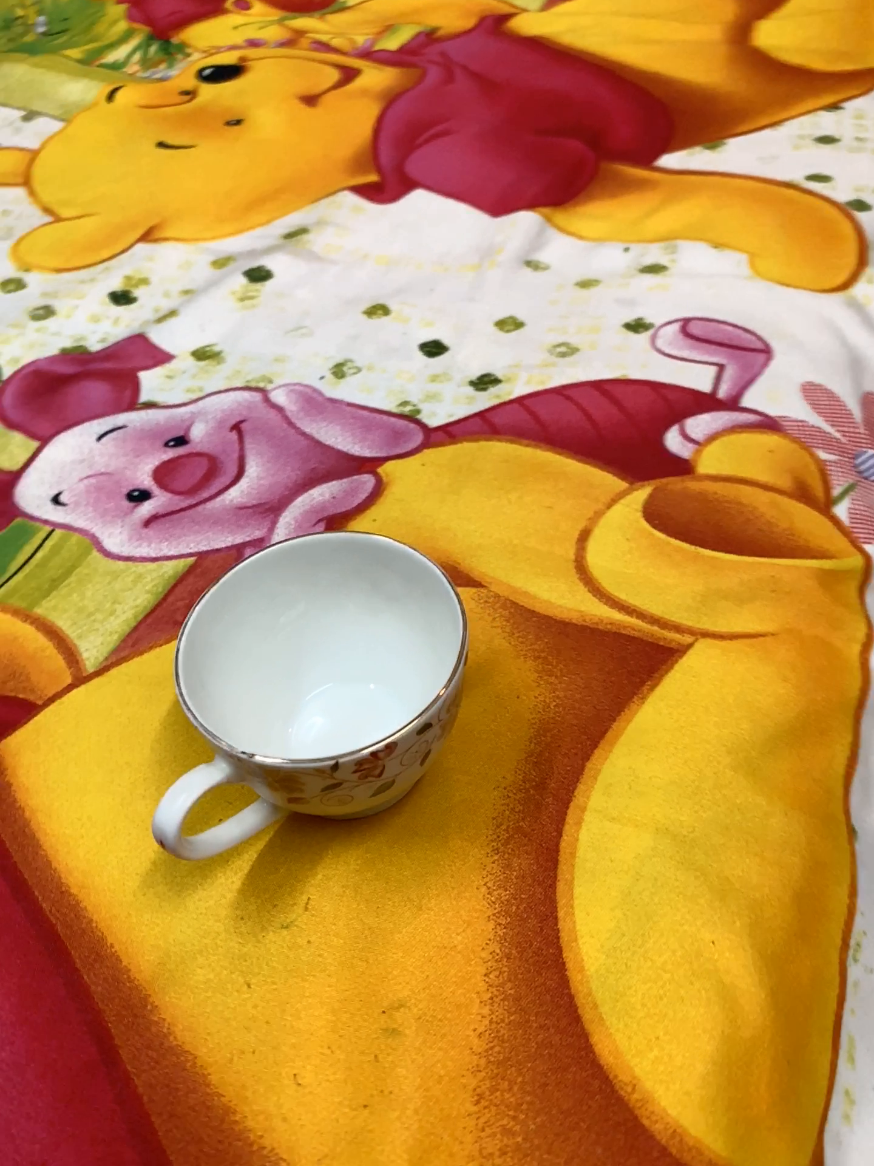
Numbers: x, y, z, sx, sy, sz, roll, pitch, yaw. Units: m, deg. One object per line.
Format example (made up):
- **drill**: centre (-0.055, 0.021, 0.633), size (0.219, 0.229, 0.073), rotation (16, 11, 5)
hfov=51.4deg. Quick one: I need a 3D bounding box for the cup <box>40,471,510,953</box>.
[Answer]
- **cup**: centre (-0.040, 0.033, 0.267), size (0.080, 0.060, 0.100), rotation (26, 57, 26)
